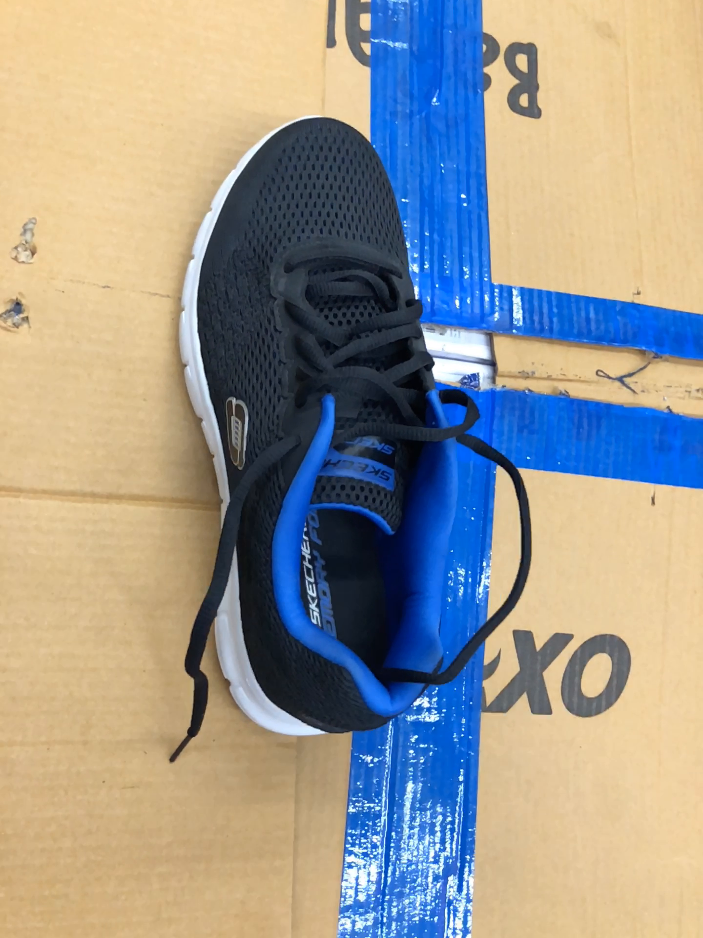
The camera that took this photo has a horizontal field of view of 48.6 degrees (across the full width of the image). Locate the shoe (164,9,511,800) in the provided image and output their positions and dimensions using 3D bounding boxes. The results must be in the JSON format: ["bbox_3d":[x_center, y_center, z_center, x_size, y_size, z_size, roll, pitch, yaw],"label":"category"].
[{"bbox_3d":[-0.015,-0.023,0.334,0.114,0.106,0.278,2,81,-18],"label":"shoe"}]
